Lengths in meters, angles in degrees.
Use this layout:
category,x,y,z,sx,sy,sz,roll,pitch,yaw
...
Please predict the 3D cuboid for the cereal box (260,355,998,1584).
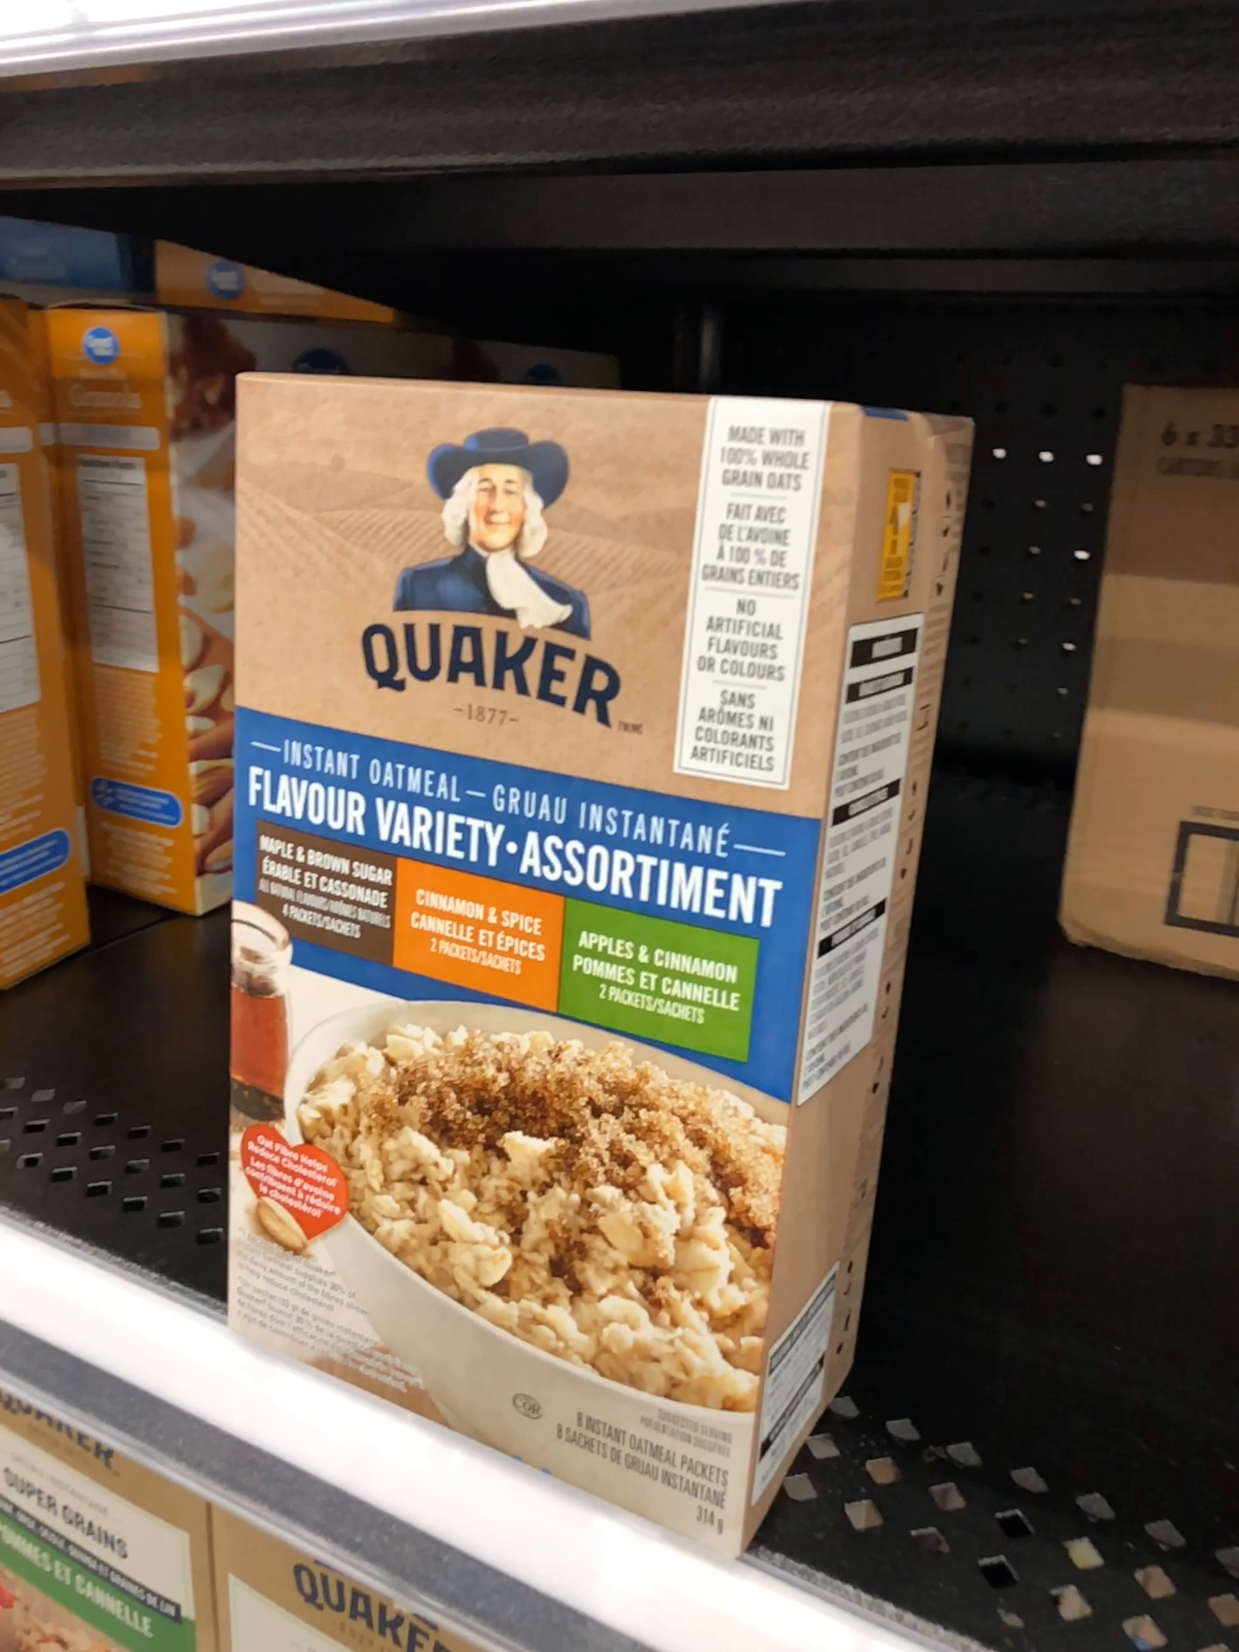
category,x,y,z,sx,sy,sz,roll,pitch,yaw
cereal box,-0.005,0.020,0.276,0.120,0.209,0.060,11,15,25
